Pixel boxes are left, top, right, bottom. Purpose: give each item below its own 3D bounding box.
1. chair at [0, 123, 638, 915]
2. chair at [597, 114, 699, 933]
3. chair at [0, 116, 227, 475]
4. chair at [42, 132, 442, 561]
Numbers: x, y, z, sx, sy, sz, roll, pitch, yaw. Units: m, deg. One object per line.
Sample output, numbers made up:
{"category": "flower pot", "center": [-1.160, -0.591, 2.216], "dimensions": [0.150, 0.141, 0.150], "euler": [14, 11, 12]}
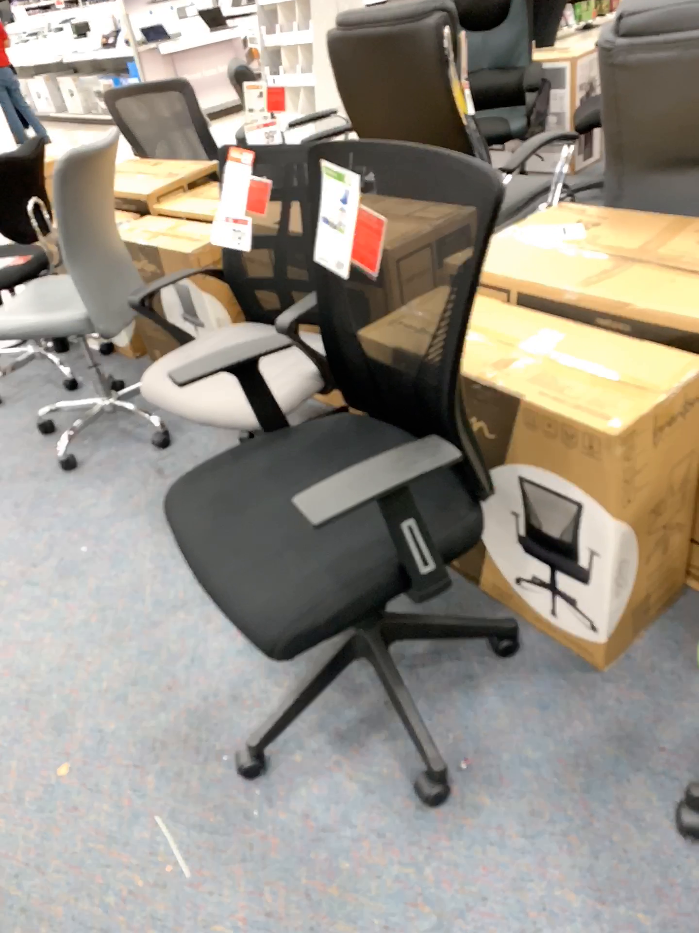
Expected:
{"category": "chair", "center": [-0.050, 0.034, 1.218], "dimensions": [0.679, 0.974, 0.684], "euler": [-26, 37, -20]}
{"category": "chair", "center": [0.804, 0.223, 0.772], "dimensions": [0.709, 0.934, 0.674], "euler": [-26, 37, -20]}
{"category": "chair", "center": [-0.982, -0.563, 2.391], "dimensions": [0.699, 0.934, 0.714], "euler": [-1, 36, 15]}
{"category": "chair", "center": [-0.231, -0.373, 1.963], "dimensions": [0.623, 0.874, 0.679], "euler": [21, 46, 38]}
